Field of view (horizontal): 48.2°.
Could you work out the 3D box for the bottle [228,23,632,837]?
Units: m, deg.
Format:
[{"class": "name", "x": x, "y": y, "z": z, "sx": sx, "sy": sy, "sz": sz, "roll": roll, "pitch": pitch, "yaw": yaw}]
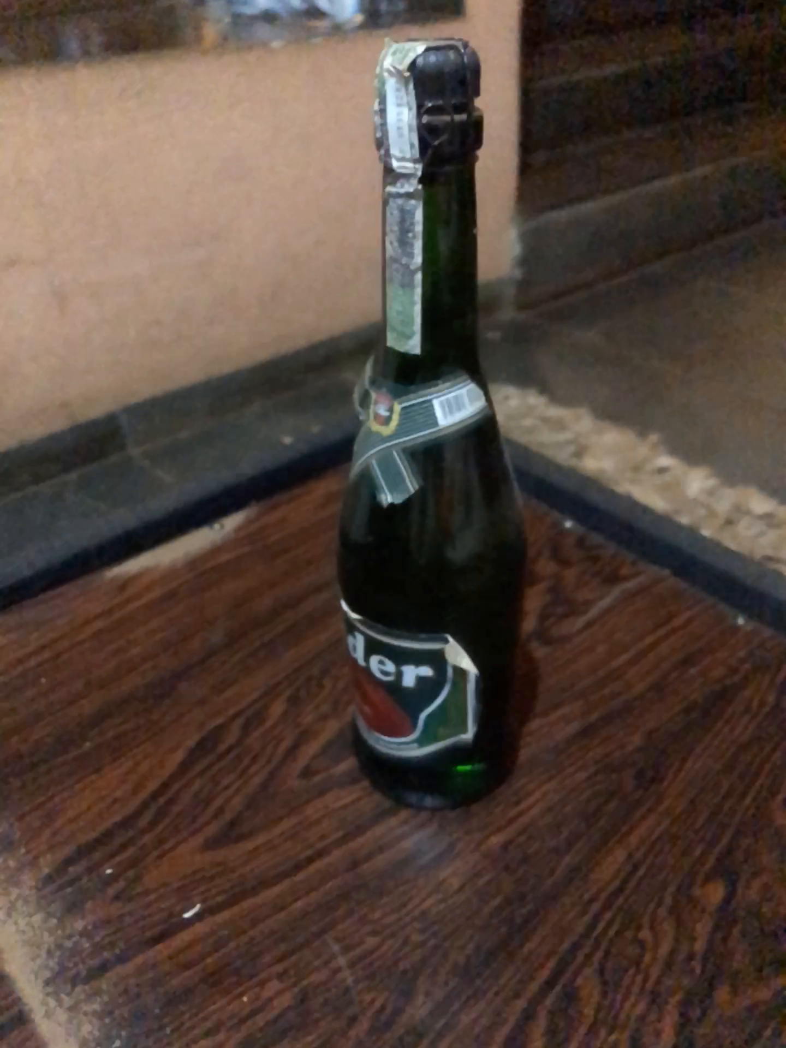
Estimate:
[{"class": "bottle", "x": 0.013, "y": -0.022, "z": 0.338, "sx": 0.080, "sy": 0.288, "sz": 0.090, "roll": -24, "pitch": 39, "yaw": -28}]
